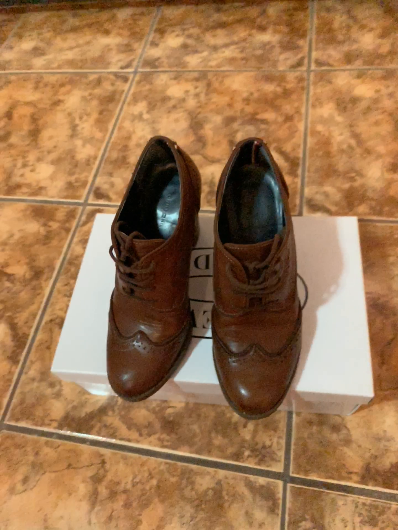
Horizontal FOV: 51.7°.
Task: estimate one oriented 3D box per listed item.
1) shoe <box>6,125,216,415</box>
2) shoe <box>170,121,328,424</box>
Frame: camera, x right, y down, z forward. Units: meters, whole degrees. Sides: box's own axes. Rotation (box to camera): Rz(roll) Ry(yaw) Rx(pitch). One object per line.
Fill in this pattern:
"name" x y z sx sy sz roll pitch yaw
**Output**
"shoe" -0.056 0.001 0.386 0.095 0.137 0.228 5 59 12
"shoe" 0.045 0.007 0.366 0.095 0.137 0.228 -1 58 8
